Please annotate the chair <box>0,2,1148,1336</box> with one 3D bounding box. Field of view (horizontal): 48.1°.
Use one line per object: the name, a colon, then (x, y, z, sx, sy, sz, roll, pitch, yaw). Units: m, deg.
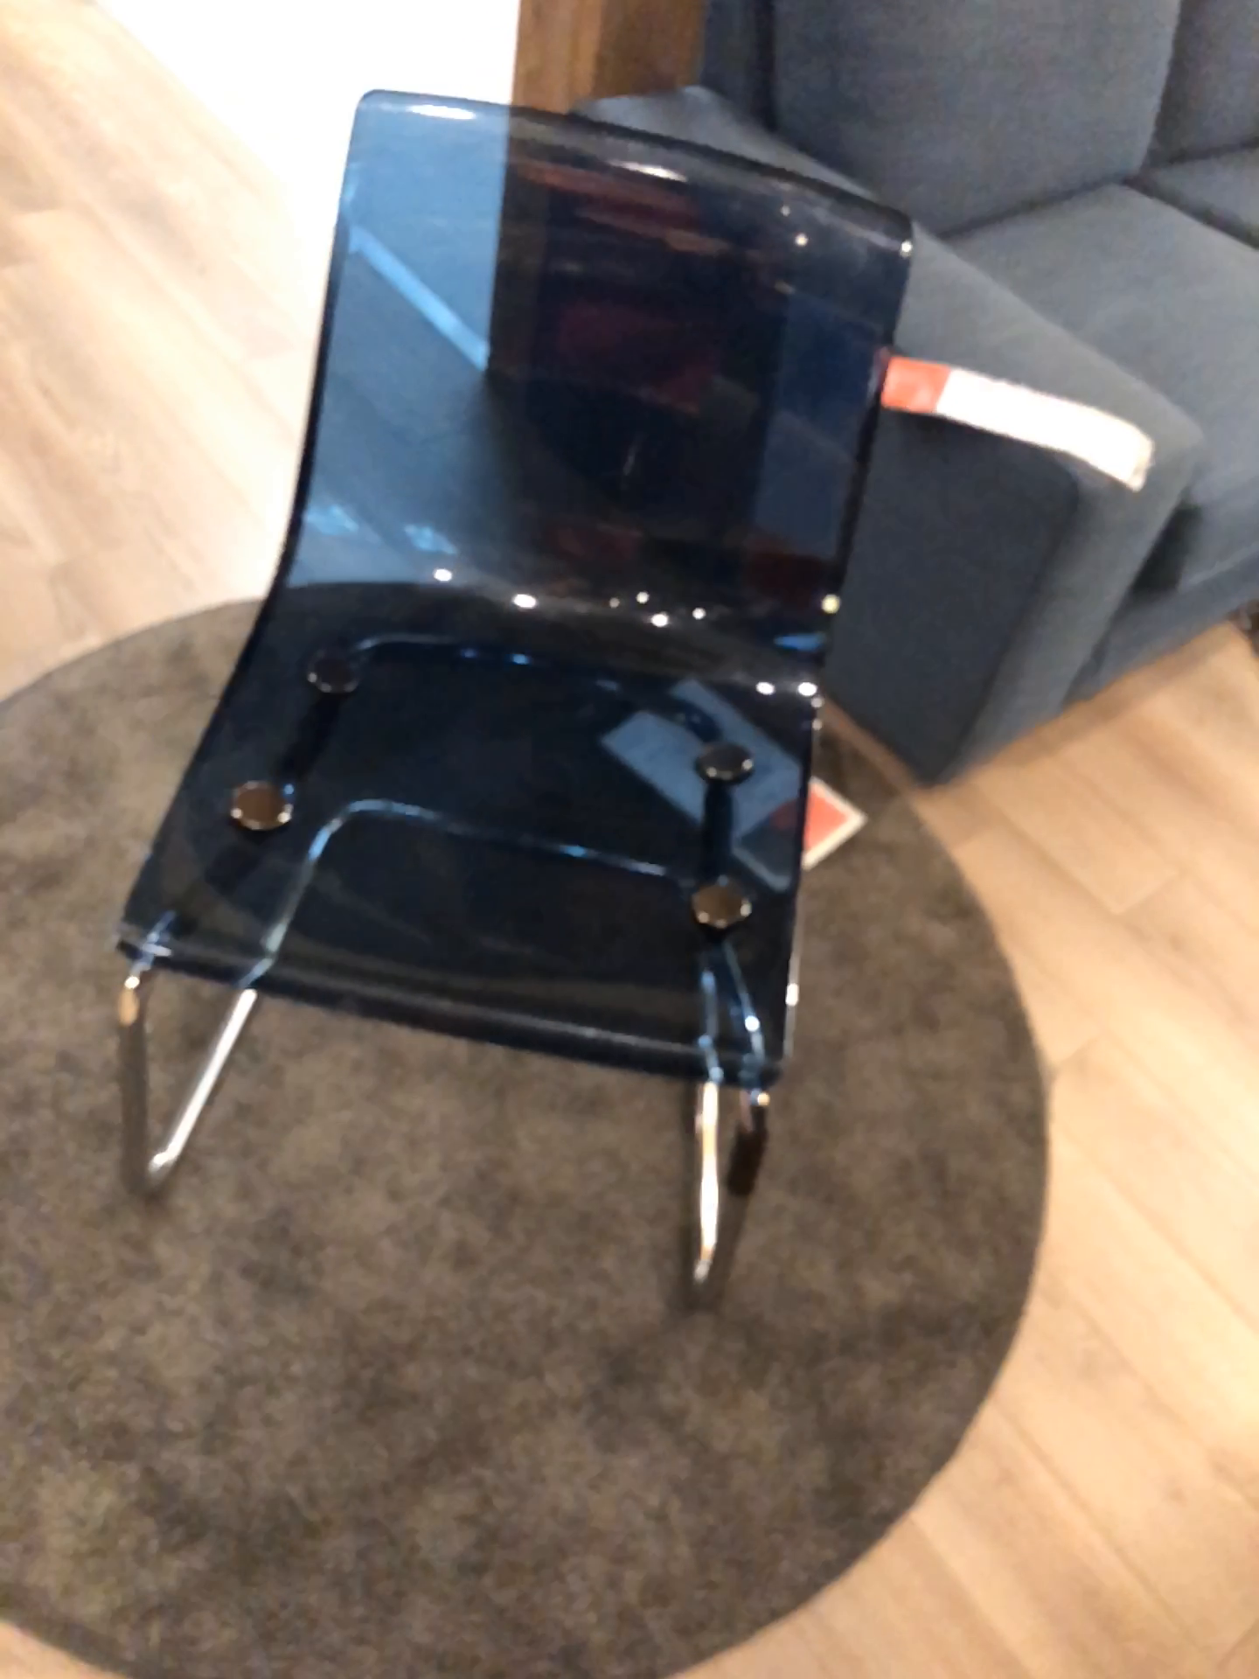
chair: (-0.074, -0.058, 1.149, 0.580, 0.867, 0.502, 12, 49, -2)
